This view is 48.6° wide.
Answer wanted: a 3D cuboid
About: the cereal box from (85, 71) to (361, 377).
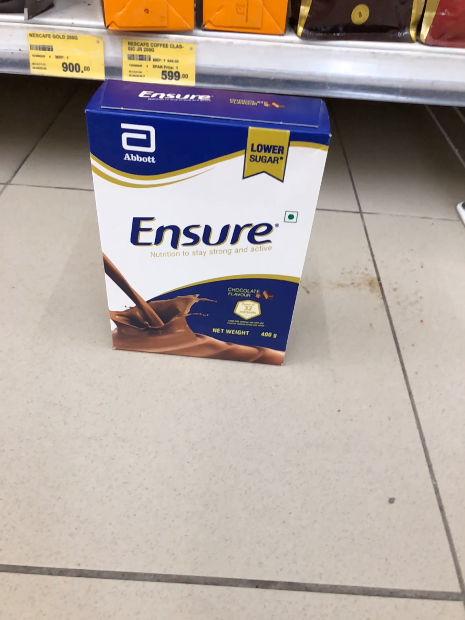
[{"bbox_3d":[-0.008,-0.047,0.341,0.140,0.179,0.060,8,41,2],"label":"cereal box"}]
